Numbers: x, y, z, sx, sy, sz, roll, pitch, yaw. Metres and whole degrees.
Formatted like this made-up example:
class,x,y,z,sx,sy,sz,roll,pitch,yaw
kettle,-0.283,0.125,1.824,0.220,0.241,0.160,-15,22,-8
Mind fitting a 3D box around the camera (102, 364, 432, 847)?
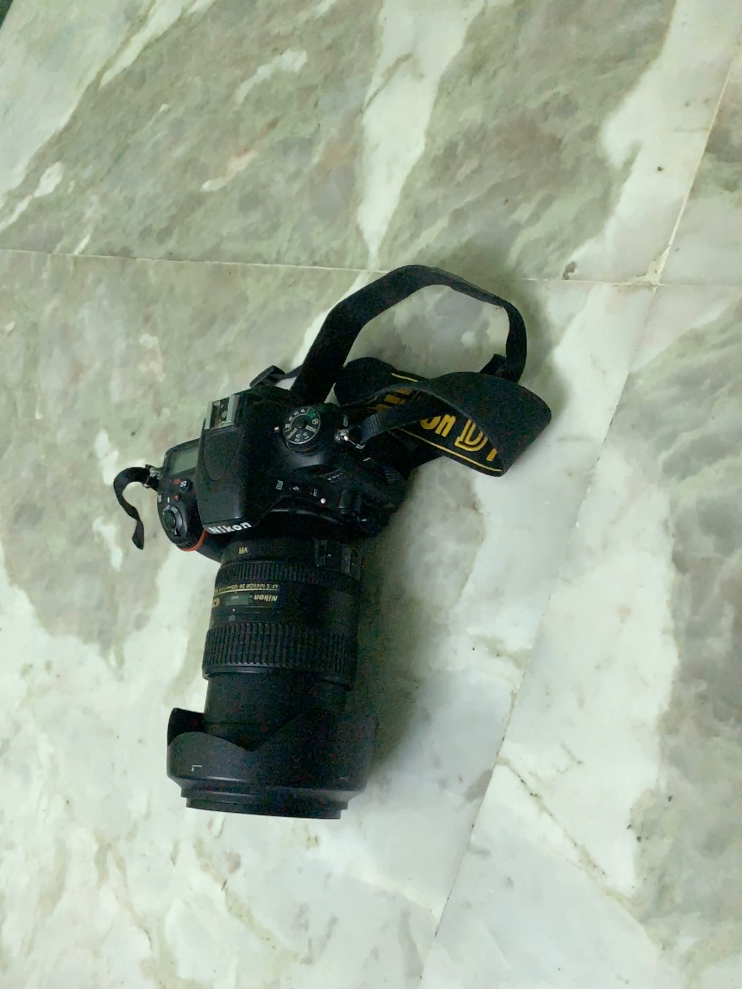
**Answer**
class,x,y,z,sx,sy,sz,roll,pitch,yaw
camera,-0.050,0.061,0.398,0.131,0.090,0.210,-12,67,32
